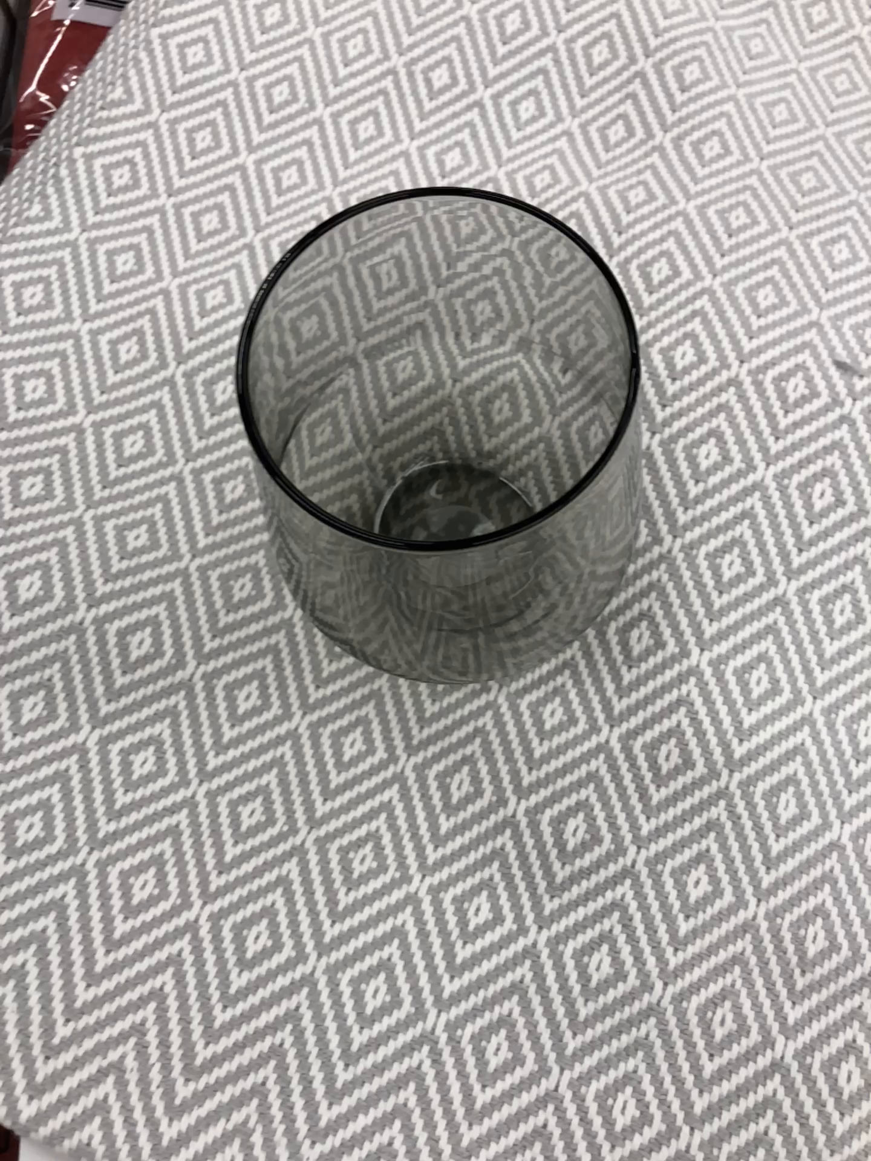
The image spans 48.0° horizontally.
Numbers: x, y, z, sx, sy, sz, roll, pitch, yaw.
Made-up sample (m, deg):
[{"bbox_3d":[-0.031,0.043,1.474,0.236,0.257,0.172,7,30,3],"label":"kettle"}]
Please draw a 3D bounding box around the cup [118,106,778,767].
[{"bbox_3d":[0.000,-0.021,0.194,0.080,0.080,0.080,0,72,1],"label":"cup"}]
